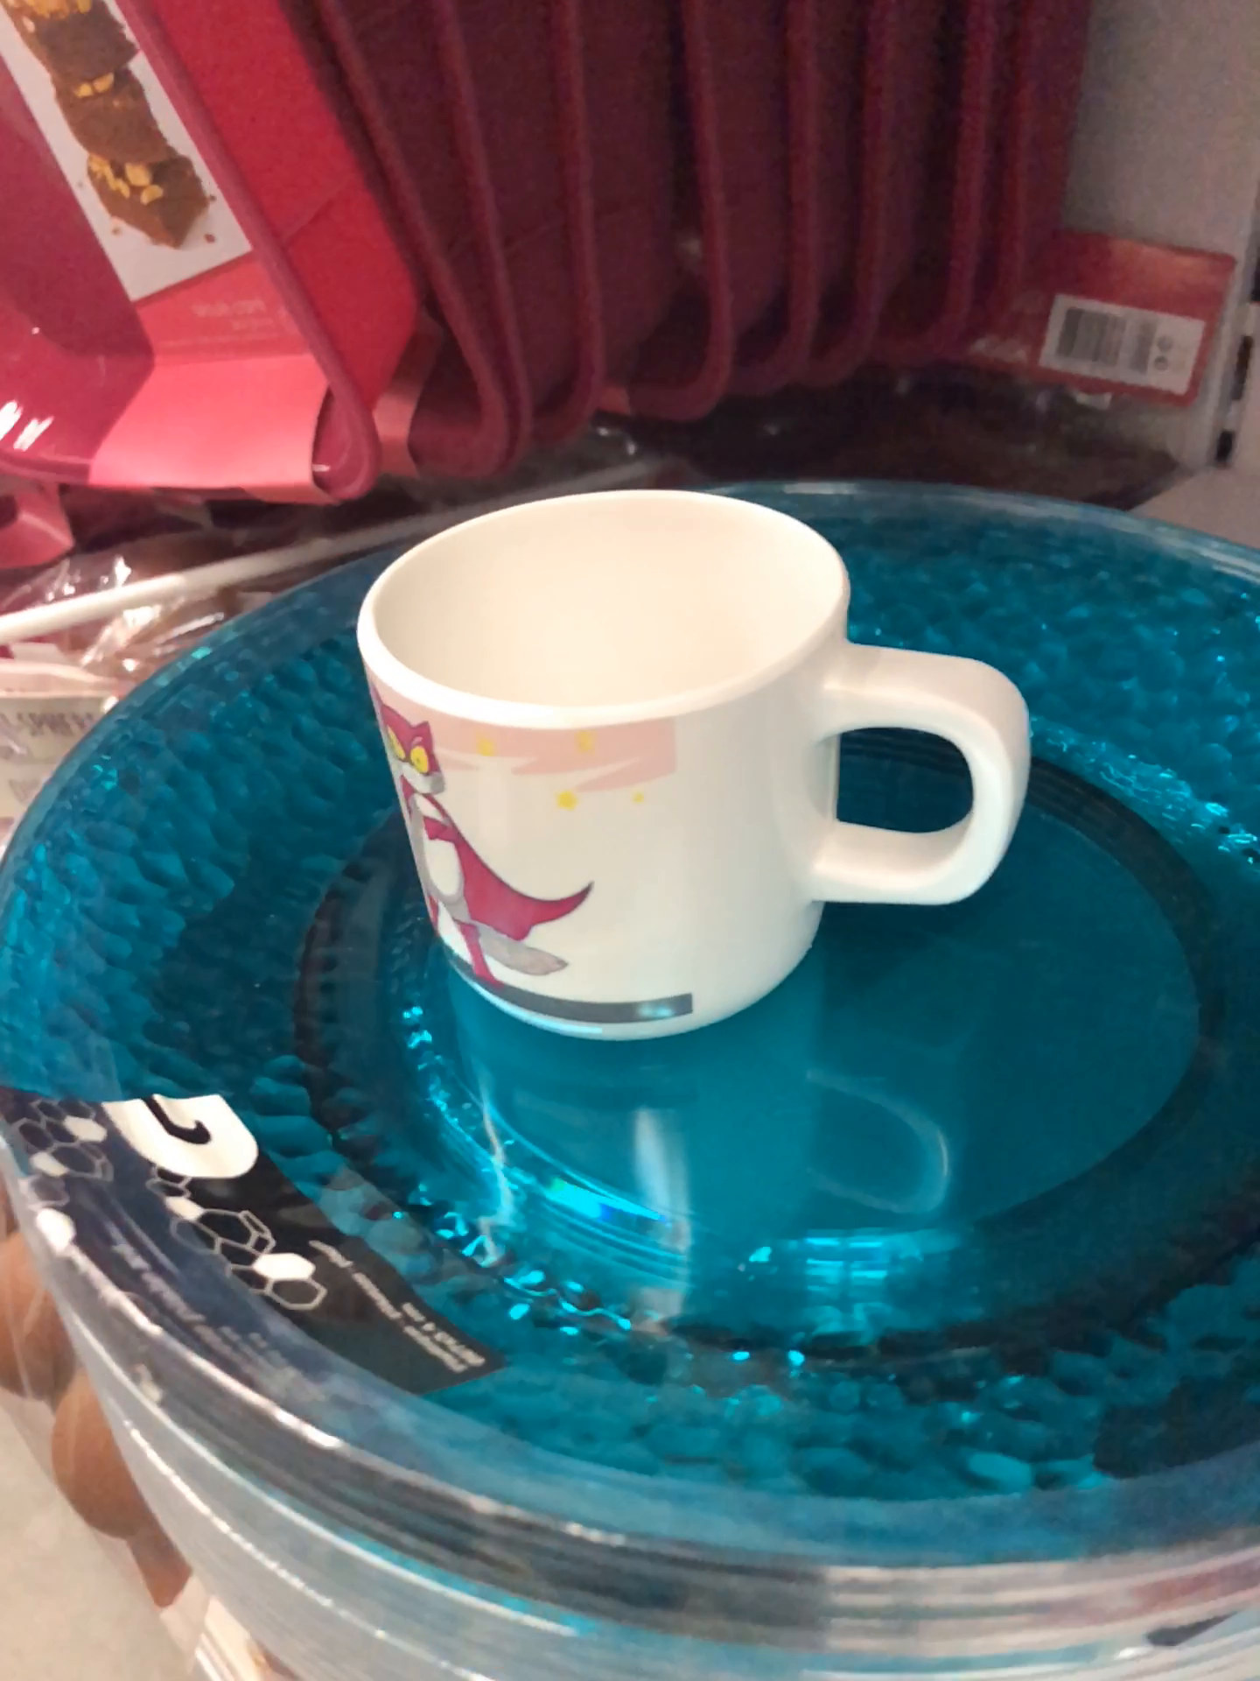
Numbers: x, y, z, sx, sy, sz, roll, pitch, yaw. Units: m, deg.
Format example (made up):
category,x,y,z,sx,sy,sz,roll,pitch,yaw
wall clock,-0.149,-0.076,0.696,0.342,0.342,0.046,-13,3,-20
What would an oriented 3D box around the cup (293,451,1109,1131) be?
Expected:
category,x,y,z,sx,sy,sz,roll,pitch,yaw
cup,0.016,-0.014,0.223,0.102,0.064,0.076,9,37,16
